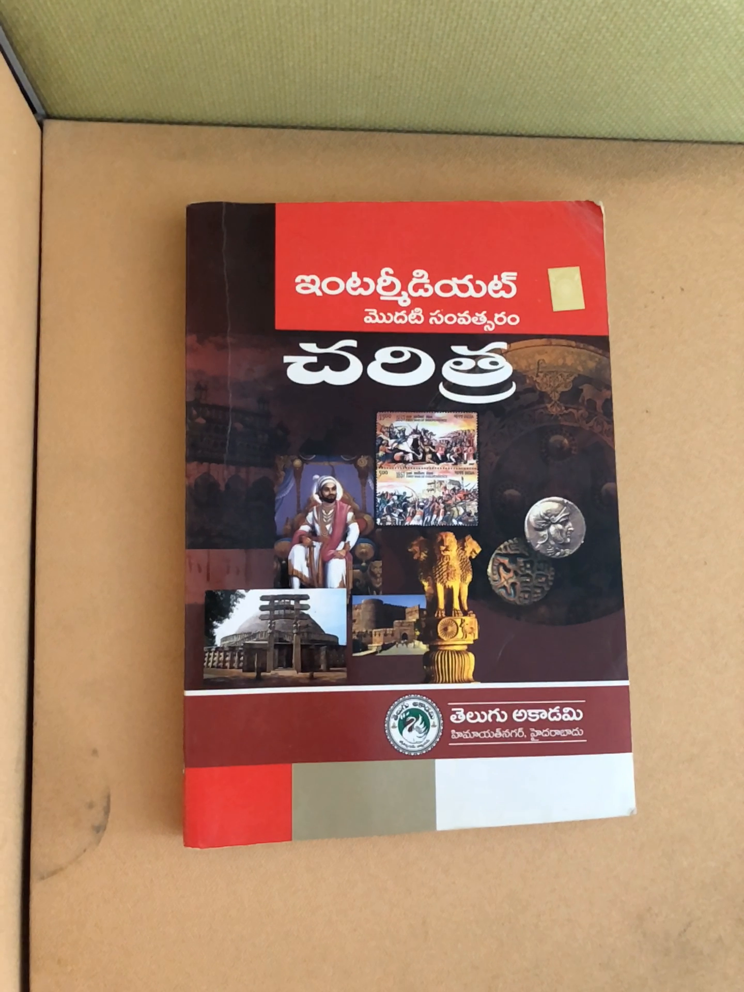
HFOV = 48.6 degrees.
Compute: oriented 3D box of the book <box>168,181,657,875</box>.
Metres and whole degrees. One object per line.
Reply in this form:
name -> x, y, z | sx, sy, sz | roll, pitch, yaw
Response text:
book -> 0.014, 0.006, 0.368 | 0.200, 0.030, 0.290 | -1, 84, -6
